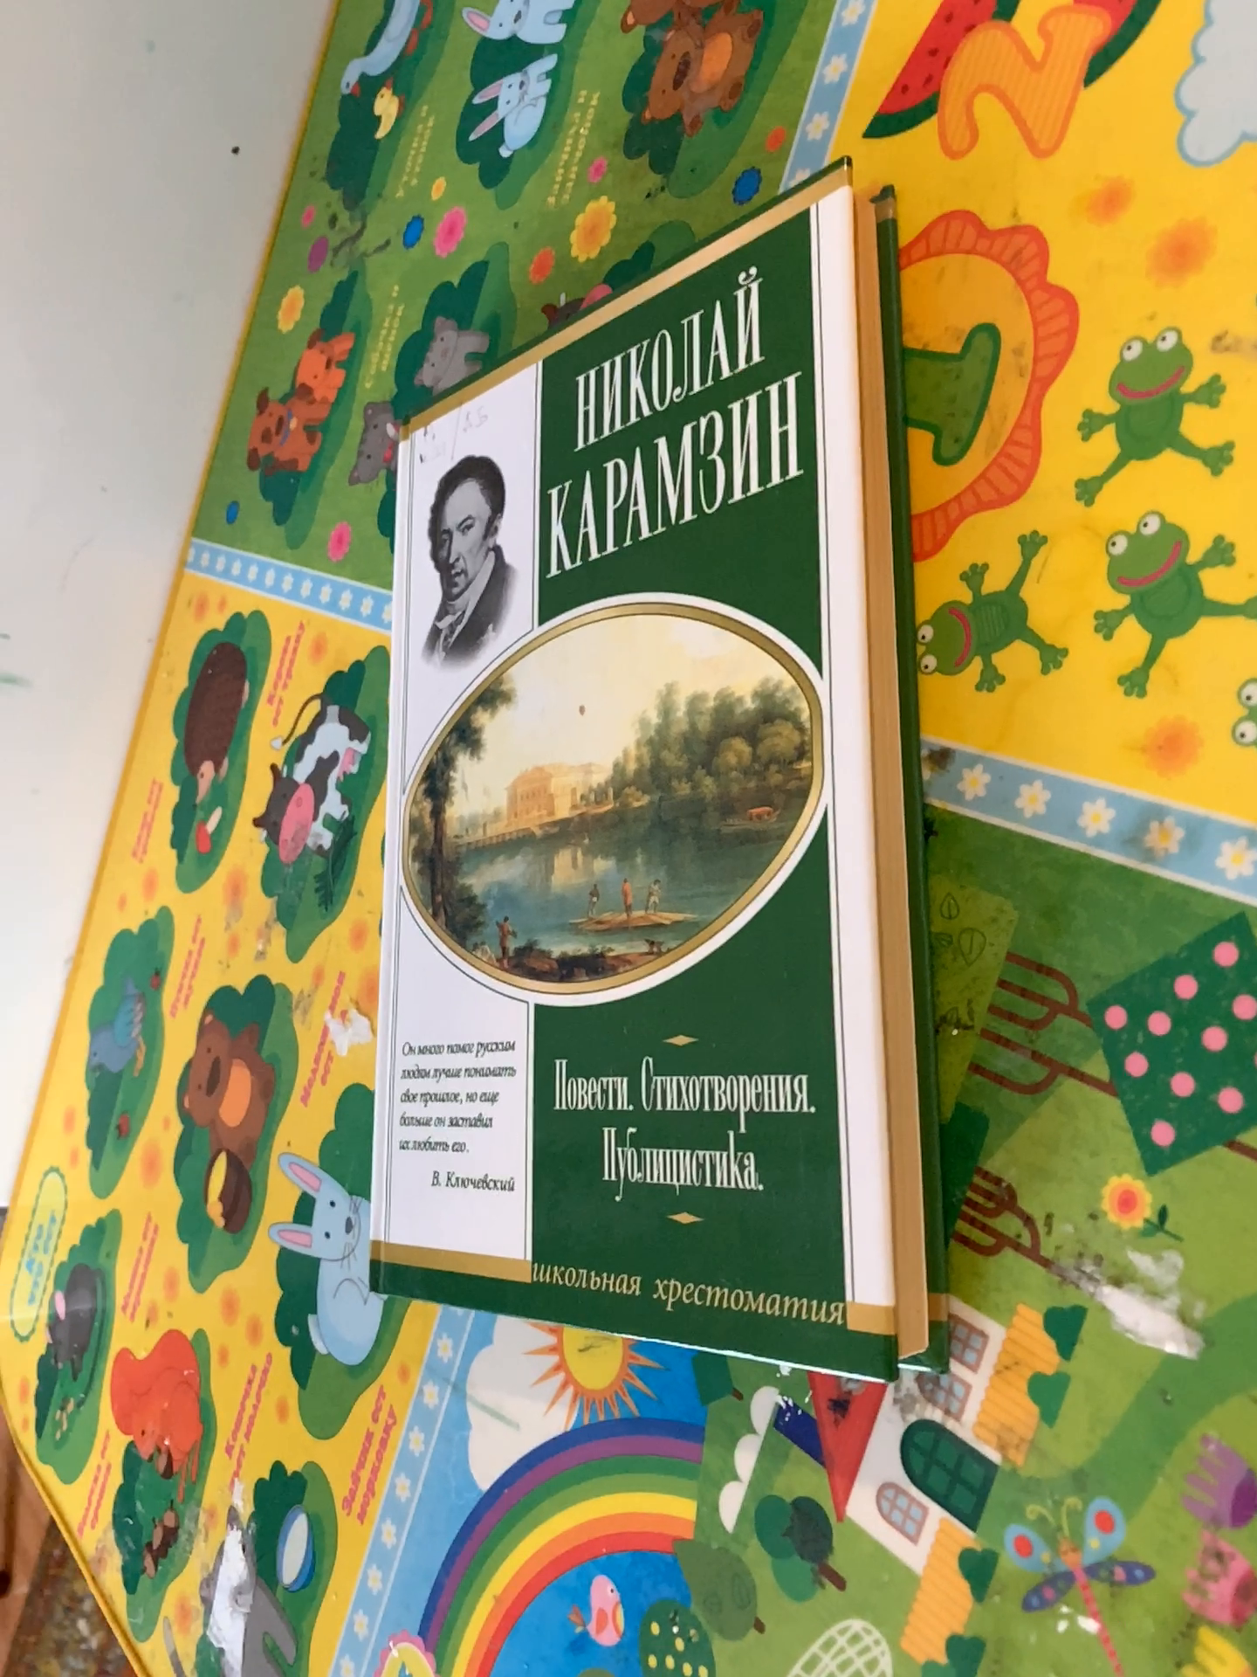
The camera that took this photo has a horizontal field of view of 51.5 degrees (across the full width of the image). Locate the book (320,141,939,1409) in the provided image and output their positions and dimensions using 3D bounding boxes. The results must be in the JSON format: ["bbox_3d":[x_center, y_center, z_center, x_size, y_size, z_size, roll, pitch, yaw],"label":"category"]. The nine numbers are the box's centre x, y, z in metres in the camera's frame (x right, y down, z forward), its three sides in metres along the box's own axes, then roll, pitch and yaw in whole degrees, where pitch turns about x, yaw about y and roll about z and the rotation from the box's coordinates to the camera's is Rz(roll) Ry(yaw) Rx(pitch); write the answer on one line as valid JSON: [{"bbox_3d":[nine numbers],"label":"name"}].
[{"bbox_3d":[-0.009,-0.009,0.251,0.136,0.020,0.197,-11,74,44],"label":"book"}]
